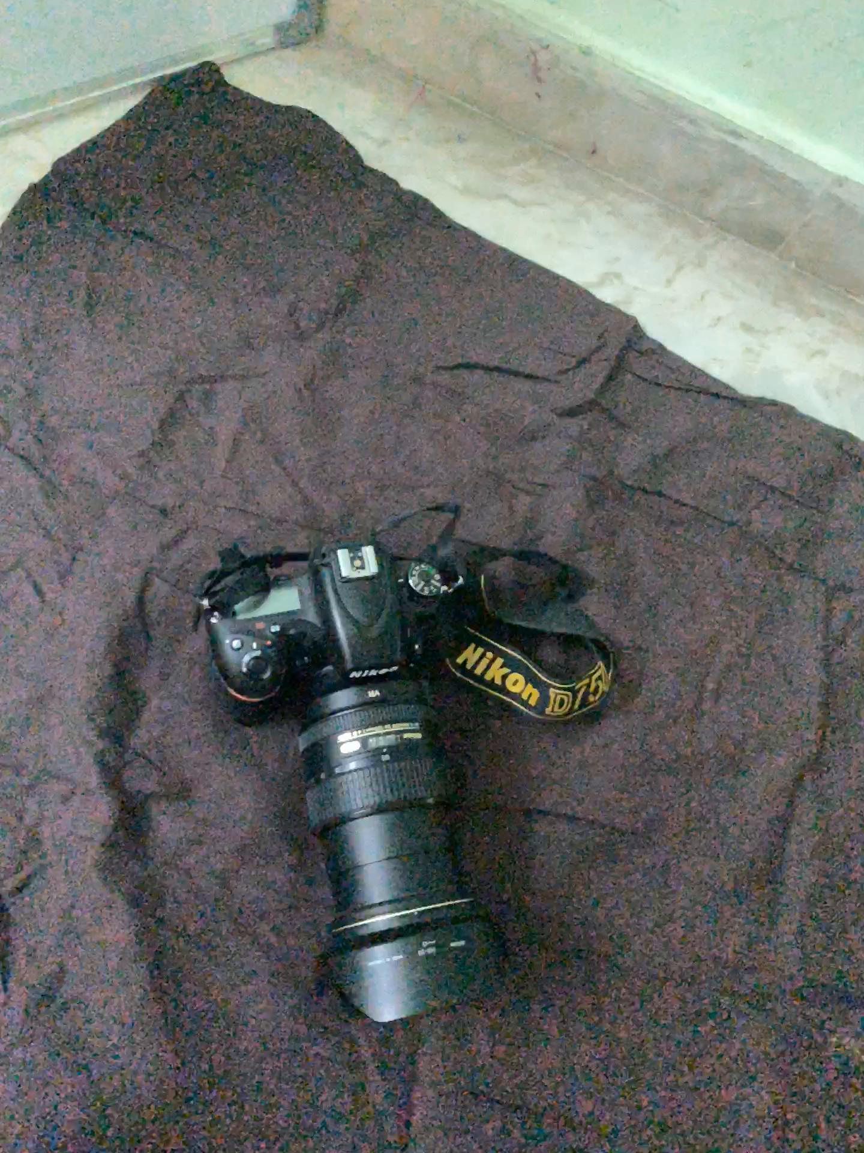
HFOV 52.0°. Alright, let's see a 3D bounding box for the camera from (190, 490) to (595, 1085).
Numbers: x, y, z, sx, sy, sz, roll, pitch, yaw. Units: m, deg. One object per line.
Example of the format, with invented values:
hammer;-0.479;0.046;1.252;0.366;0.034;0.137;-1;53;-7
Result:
camera;-0.037;0.105;0.503;0.161;0.100;0.279;-7;70;-16
